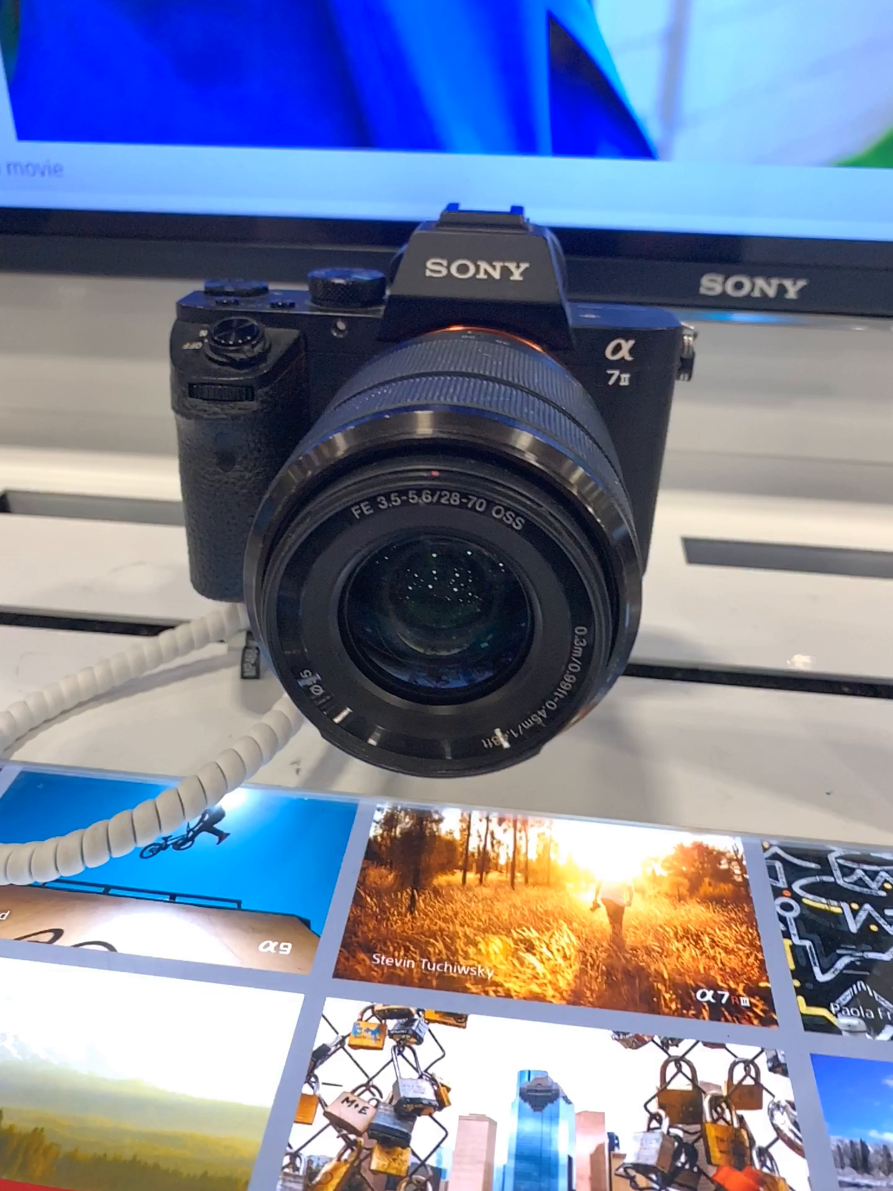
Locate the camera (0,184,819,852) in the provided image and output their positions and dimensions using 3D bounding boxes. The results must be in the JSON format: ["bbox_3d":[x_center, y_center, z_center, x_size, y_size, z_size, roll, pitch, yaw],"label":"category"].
[{"bbox_3d":[-0.009,-0.034,0.208,0.130,0.090,0.142,3,30,6],"label":"camera"}]
